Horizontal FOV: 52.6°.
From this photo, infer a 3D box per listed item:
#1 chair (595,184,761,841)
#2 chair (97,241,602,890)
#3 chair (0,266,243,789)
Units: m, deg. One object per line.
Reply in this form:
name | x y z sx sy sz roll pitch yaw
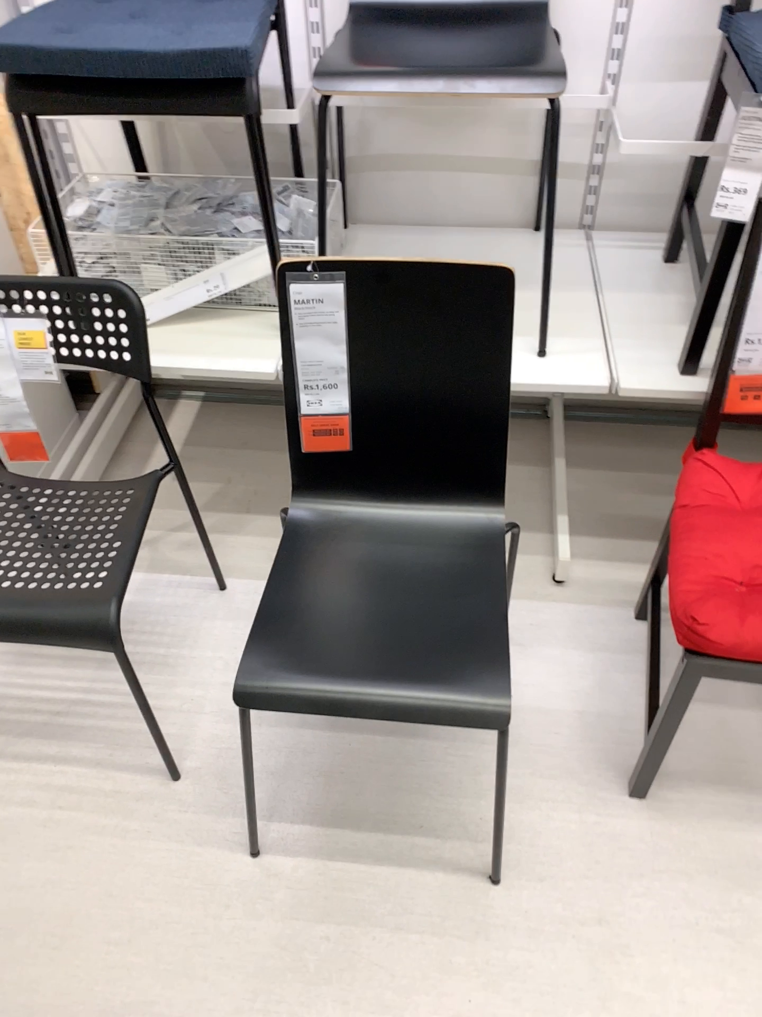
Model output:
chair | 0.639 0.051 1.156 0.450 0.857 0.482 5 45 6
chair | 0.005 0.114 1.224 0.480 0.827 0.592 4 45 6
chair | -0.585 0.049 1.354 0.470 0.727 0.532 4 45 5
